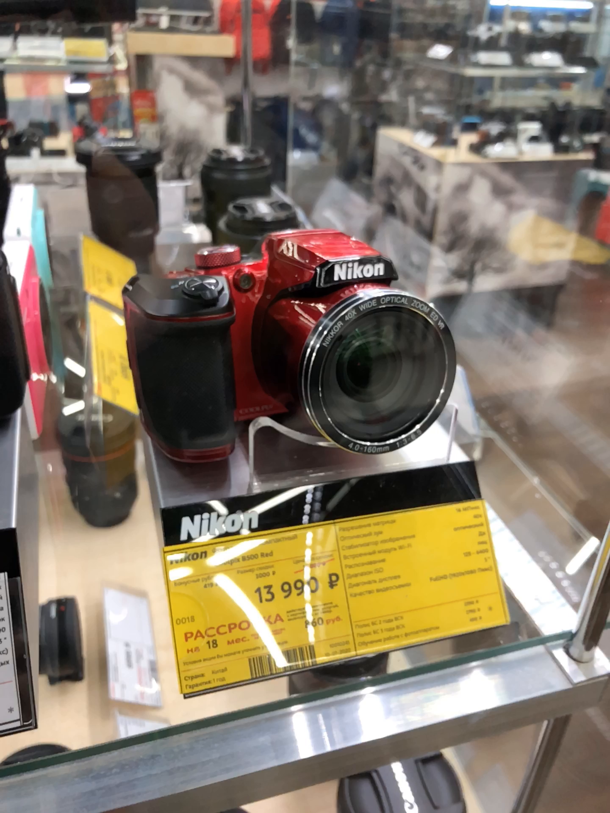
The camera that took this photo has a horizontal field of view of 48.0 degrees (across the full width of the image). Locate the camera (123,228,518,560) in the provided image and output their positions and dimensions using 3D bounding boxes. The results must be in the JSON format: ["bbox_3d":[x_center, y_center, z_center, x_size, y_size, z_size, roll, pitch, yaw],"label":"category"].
[{"bbox_3d":[-0.004,-0.015,0.276,0.120,0.076,0.111,-7,32,-16],"label":"camera"}]
